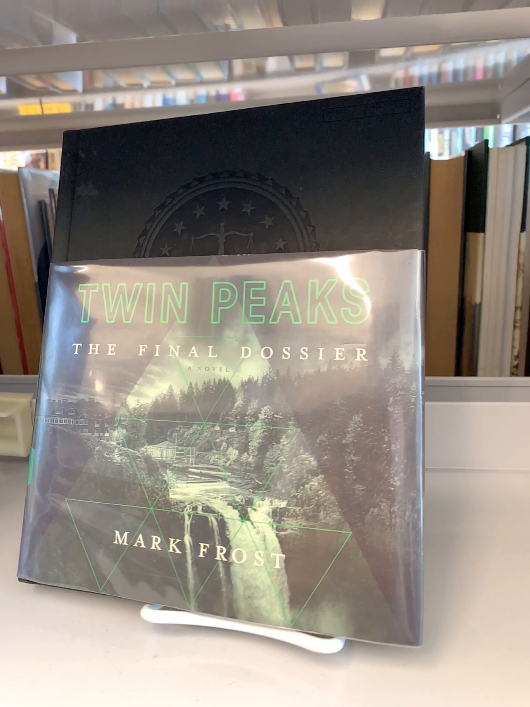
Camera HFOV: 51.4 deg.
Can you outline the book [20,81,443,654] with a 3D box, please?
[{"bbox_3d":[-0.020,-0.002,0.257,0.190,0.227,0.020,1,-6,18],"label":"book"}]
